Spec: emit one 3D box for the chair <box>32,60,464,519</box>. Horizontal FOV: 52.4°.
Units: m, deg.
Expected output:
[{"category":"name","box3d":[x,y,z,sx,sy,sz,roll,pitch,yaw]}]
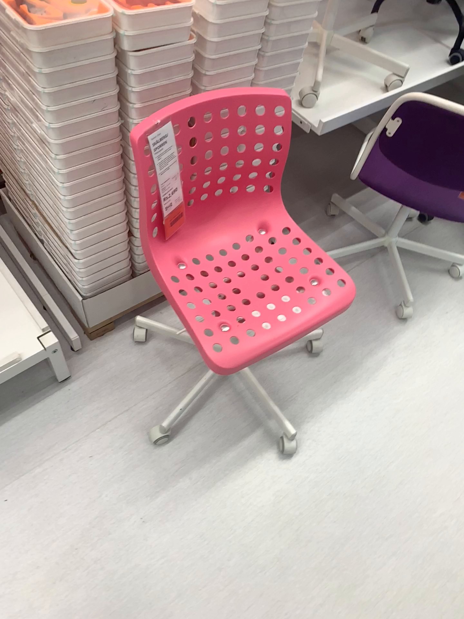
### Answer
[{"category":"chair","box3d":[0.042,-0.053,1.197,0.671,0.688,0.691,-28,63,-25]}]
